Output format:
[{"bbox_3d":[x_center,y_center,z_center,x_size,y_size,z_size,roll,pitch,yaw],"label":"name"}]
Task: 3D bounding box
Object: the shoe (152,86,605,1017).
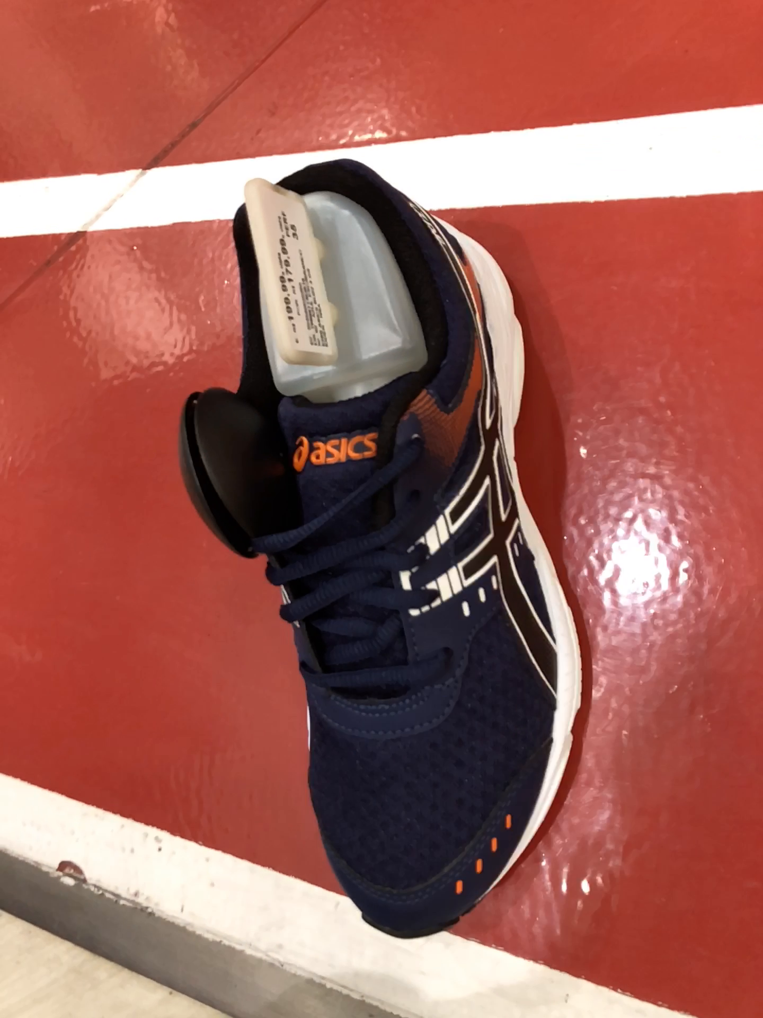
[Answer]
[{"bbox_3d":[0.002,0.013,0.276,0.100,0.100,0.240,-8,76,25],"label":"shoe"}]
